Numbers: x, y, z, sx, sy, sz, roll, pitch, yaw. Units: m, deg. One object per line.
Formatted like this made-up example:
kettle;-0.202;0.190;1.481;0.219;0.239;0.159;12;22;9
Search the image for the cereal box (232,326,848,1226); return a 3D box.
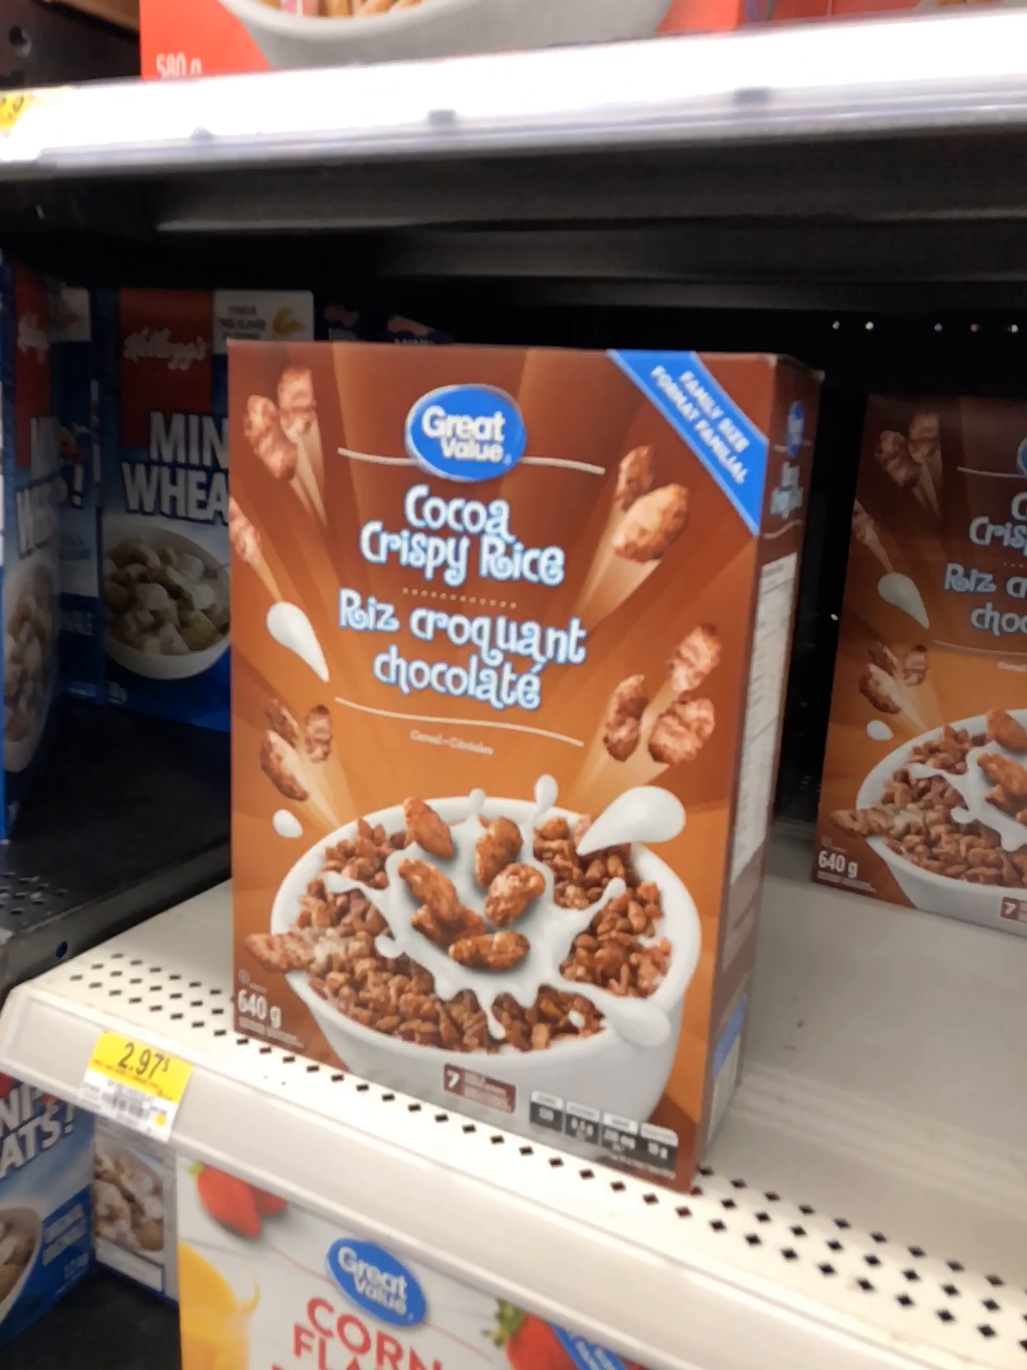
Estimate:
cereal box;0.000;0.020;0.441;0.210;0.299;0.080;9;14;25
